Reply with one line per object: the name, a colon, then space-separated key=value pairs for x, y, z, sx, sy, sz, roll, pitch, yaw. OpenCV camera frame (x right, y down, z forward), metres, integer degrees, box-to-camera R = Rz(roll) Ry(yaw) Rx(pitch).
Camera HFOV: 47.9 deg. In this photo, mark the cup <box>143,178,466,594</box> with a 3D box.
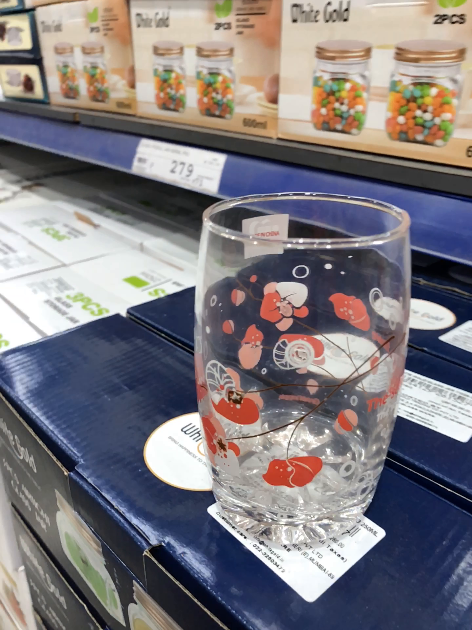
cup: x=0.022 y=0.015 z=0.177 sx=0.070 sy=0.100 sz=0.070 roll=1 pitch=26 yaw=0
